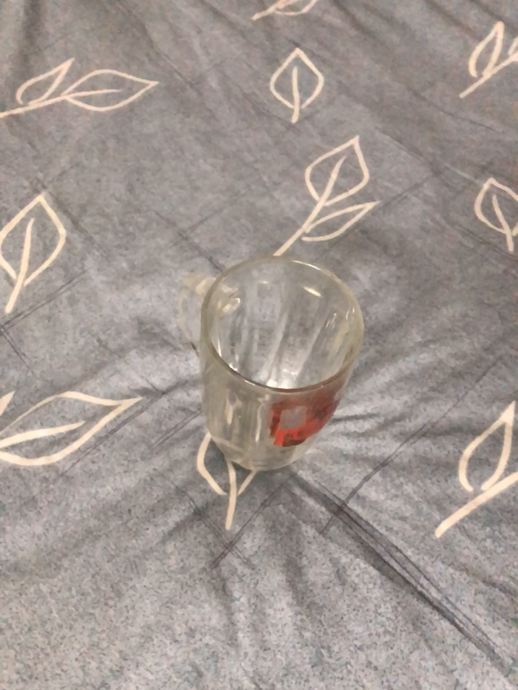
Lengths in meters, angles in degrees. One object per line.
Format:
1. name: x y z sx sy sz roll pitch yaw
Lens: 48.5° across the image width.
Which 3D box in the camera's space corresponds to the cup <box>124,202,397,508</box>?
1. cup: -0.001 0.011 0.382 0.091 0.136 0.127 -38 65 -21
